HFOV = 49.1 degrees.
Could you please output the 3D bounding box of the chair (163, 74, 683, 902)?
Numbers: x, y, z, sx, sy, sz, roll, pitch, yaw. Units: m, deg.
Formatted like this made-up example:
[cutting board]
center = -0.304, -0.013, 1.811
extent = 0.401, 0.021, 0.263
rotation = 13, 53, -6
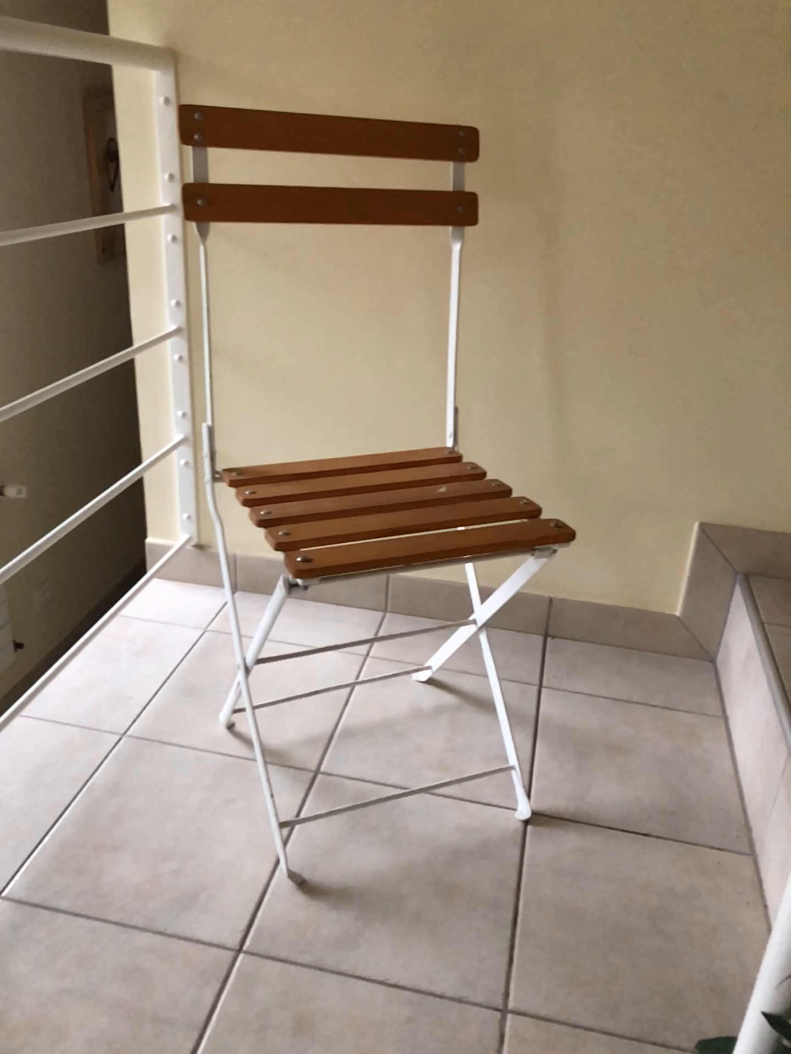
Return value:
[chair]
center = -0.015, -0.066, 1.128
extent = 0.441, 0.876, 0.431
rotation = -7, 24, -22
